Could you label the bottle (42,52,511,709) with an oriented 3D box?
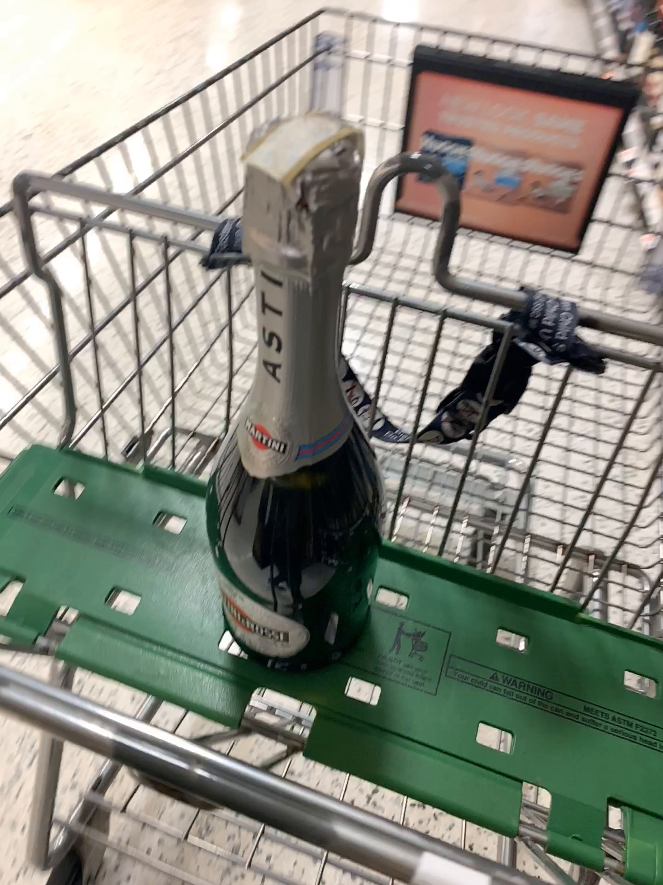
[{"bbox_3d":[-0.021,0.002,0.316,0.100,0.287,0.100,1,50,-2],"label":"bottle"}]
